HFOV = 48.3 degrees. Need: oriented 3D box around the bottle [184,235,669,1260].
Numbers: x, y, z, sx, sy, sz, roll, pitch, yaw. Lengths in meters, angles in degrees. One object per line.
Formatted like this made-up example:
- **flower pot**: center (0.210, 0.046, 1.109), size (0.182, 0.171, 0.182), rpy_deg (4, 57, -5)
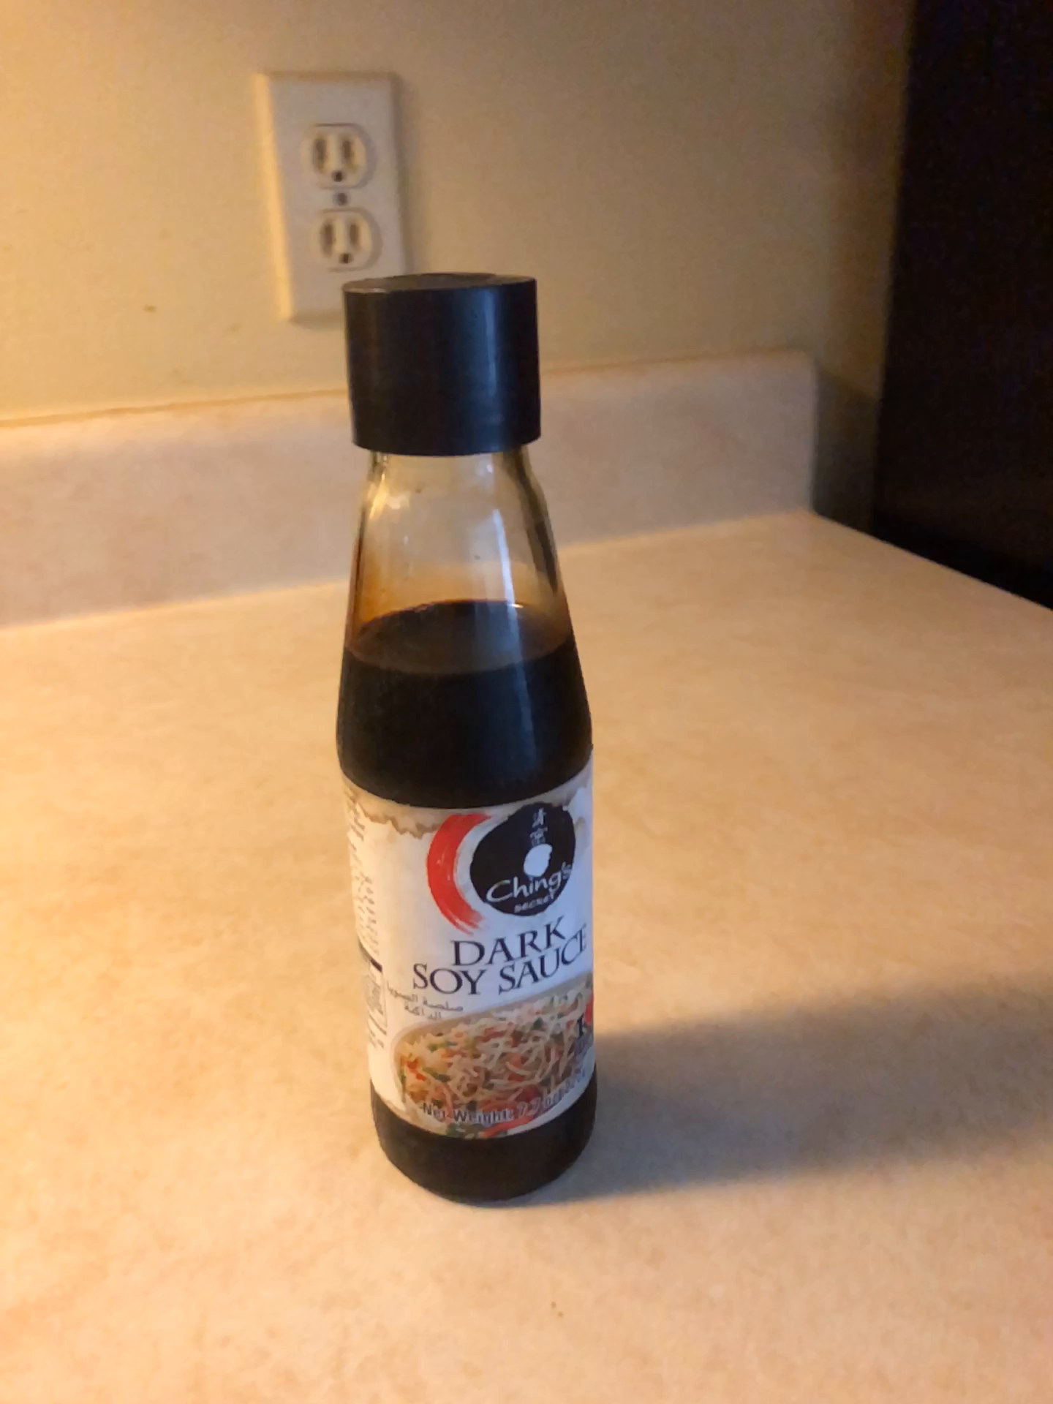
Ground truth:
- **bottle**: center (-0.015, 0.008, 0.227), size (0.060, 0.180, 0.060), rpy_deg (-2, 23, 1)
